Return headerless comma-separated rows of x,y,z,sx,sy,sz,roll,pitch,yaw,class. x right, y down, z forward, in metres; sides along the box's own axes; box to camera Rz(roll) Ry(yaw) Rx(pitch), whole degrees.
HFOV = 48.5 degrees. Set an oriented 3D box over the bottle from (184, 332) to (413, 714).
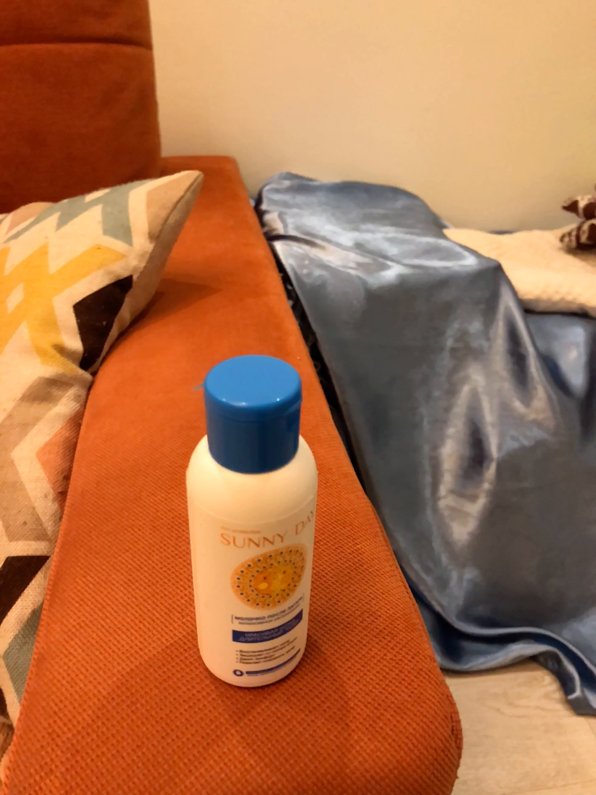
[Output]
-0.006,0.042,0.213,0.047,0.111,0.044,5,35,-3,bottle
